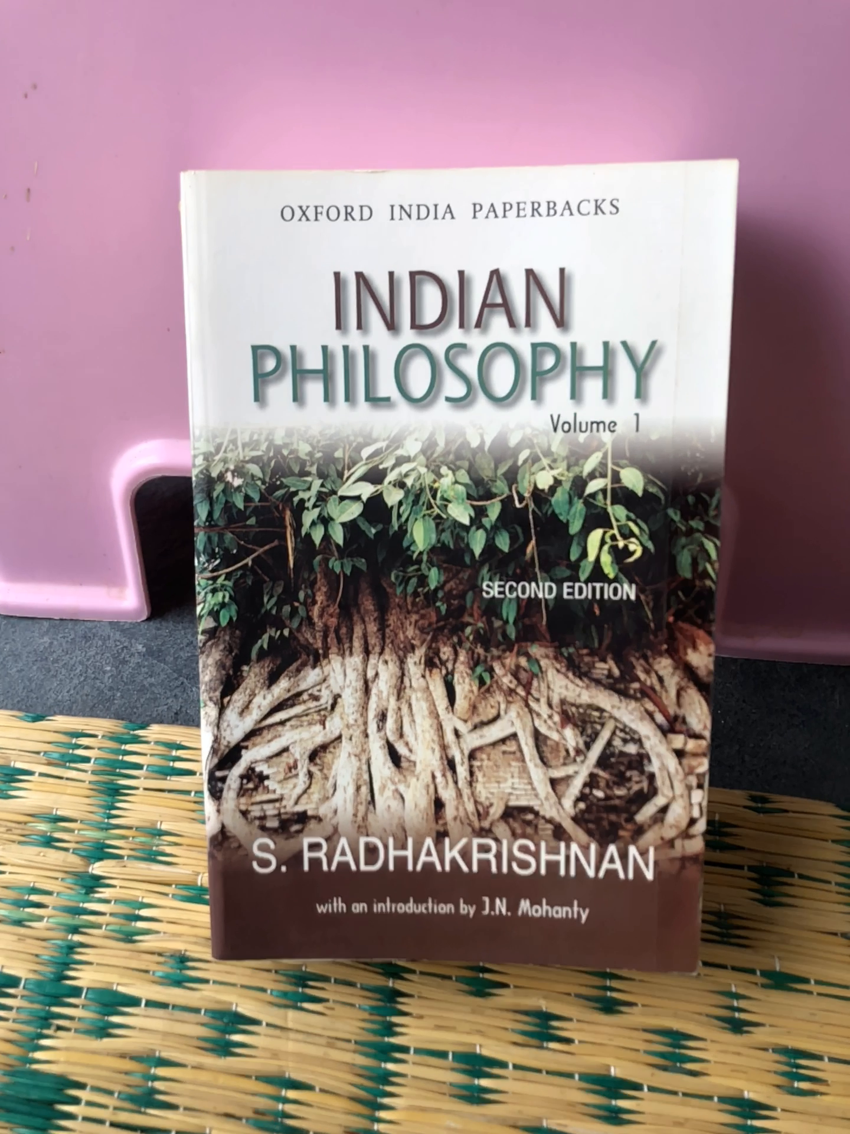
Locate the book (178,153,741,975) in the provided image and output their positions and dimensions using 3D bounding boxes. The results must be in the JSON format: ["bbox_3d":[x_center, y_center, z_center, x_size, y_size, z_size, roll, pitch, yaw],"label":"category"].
[{"bbox_3d":[0.008,-0.001,0.276,0.140,0.210,0.070,1,4,1],"label":"book"}]
